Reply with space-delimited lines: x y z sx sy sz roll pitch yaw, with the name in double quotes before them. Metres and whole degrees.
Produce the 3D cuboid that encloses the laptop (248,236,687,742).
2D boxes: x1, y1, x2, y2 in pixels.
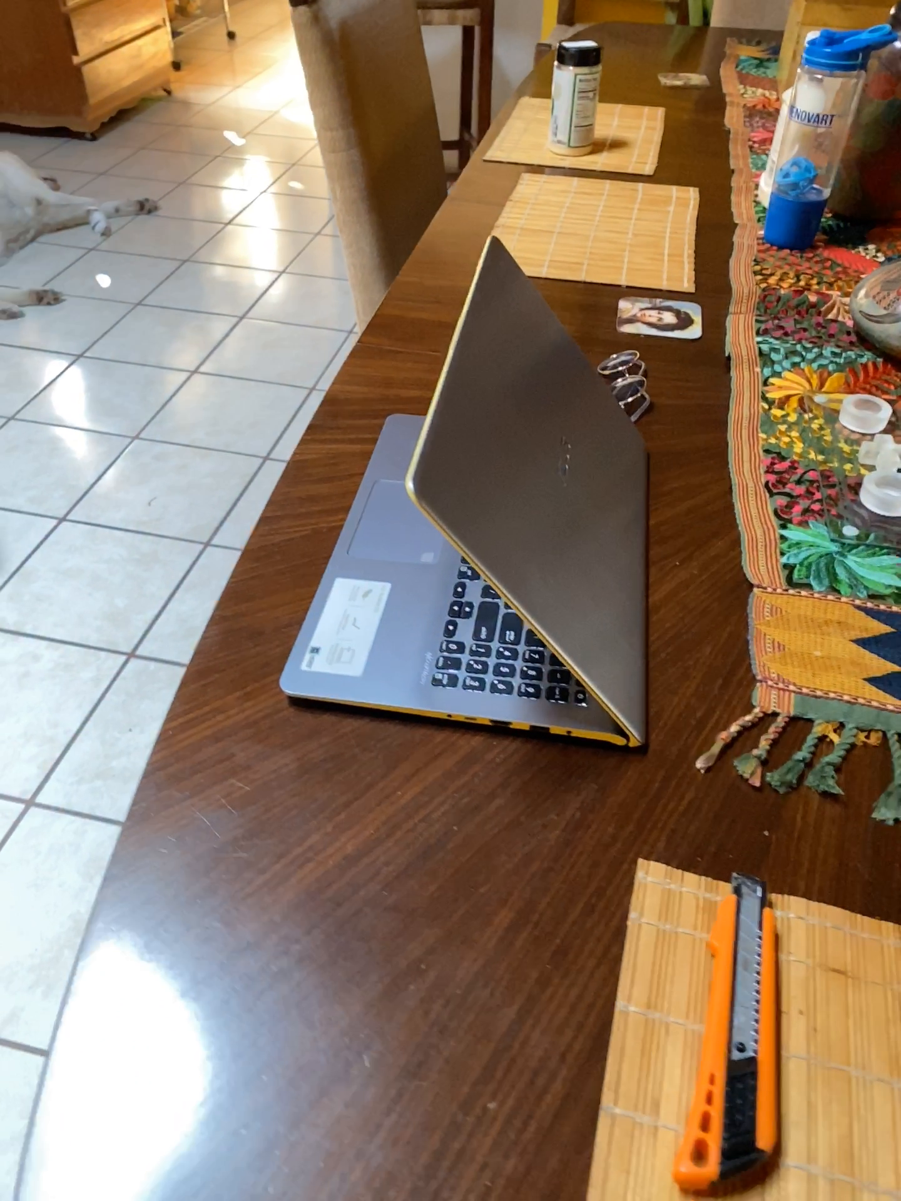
"laptop" 0.032 -0.112 0.716 0.250 0.181 0.379 7 43 6
